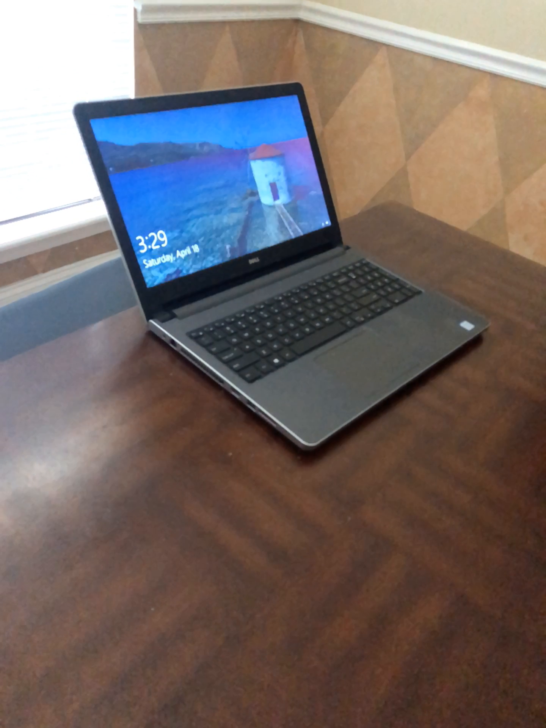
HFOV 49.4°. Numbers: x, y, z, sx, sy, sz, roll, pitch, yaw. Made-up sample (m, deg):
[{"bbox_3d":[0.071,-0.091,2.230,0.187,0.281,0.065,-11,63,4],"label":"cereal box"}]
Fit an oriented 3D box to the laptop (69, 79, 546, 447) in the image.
[{"bbox_3d":[0.040,-0.166,0.705,0.392,0.198,0.368,35,44,29],"label":"laptop"}]
